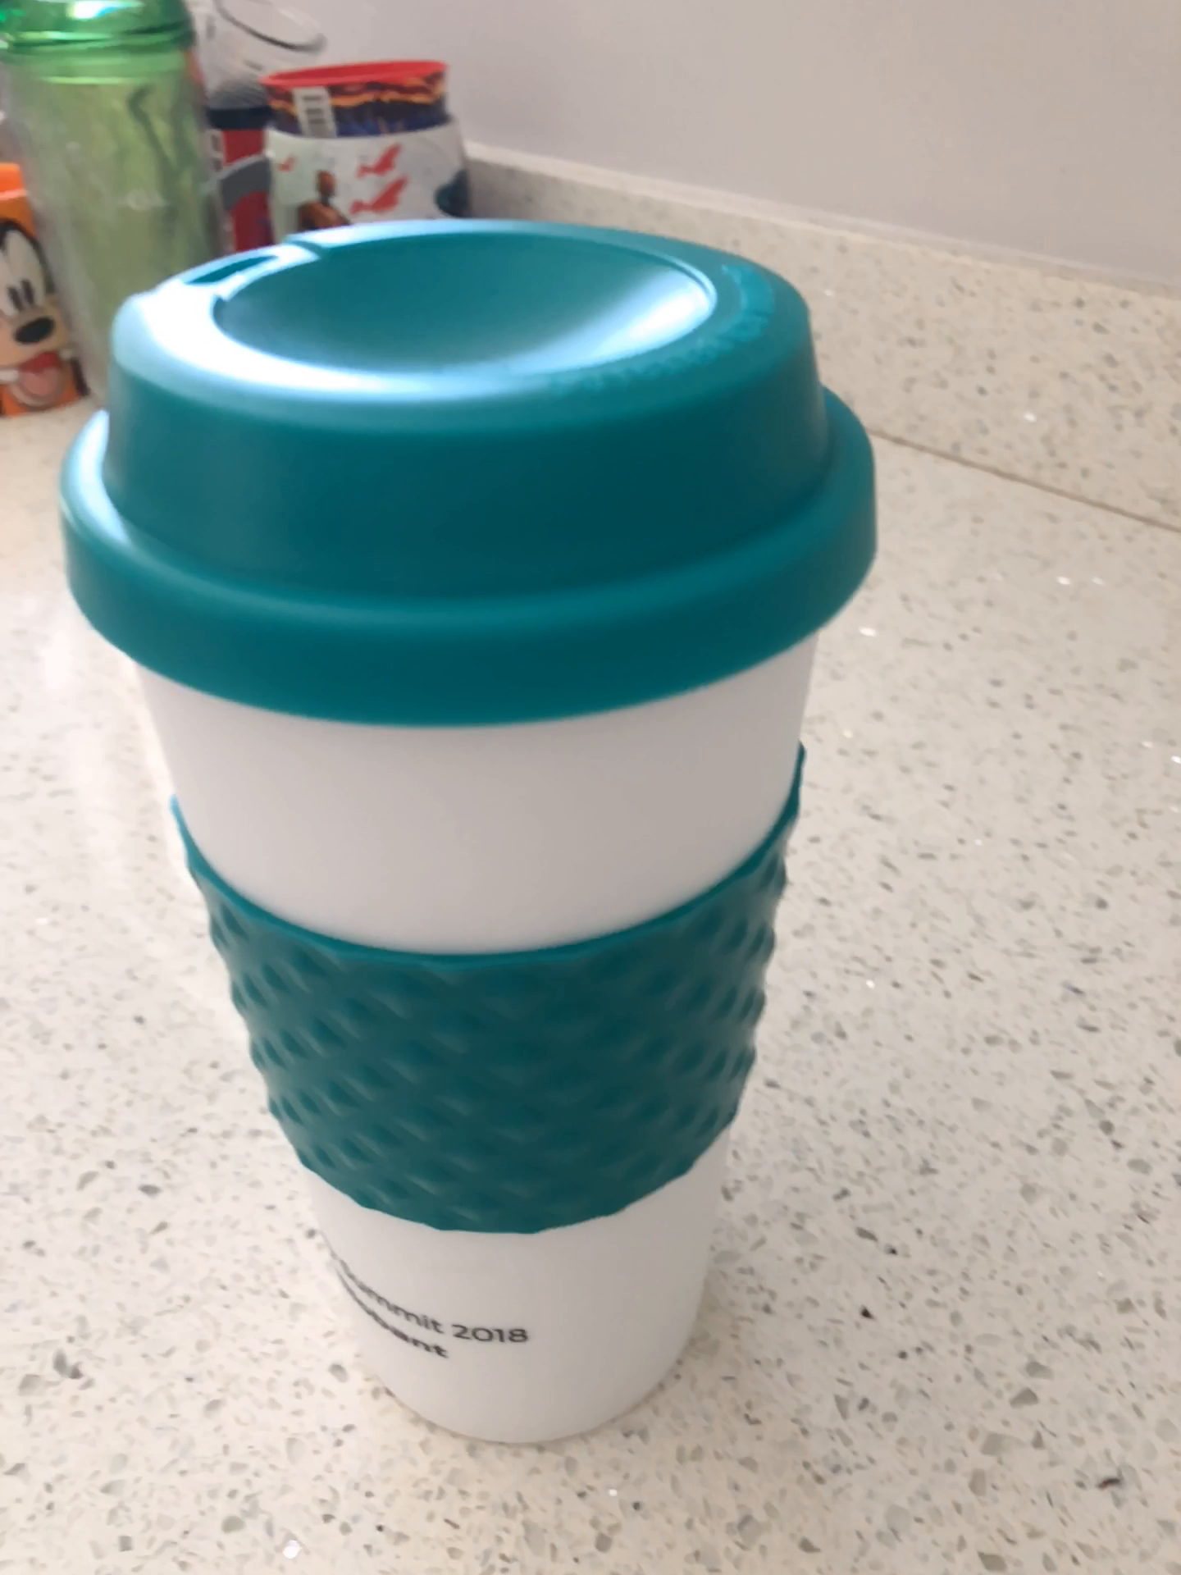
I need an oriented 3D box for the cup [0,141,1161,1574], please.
[{"bbox_3d":[-0.010,0.011,0.194,0.100,0.169,0.100,-1,35,1],"label":"cup"}]
